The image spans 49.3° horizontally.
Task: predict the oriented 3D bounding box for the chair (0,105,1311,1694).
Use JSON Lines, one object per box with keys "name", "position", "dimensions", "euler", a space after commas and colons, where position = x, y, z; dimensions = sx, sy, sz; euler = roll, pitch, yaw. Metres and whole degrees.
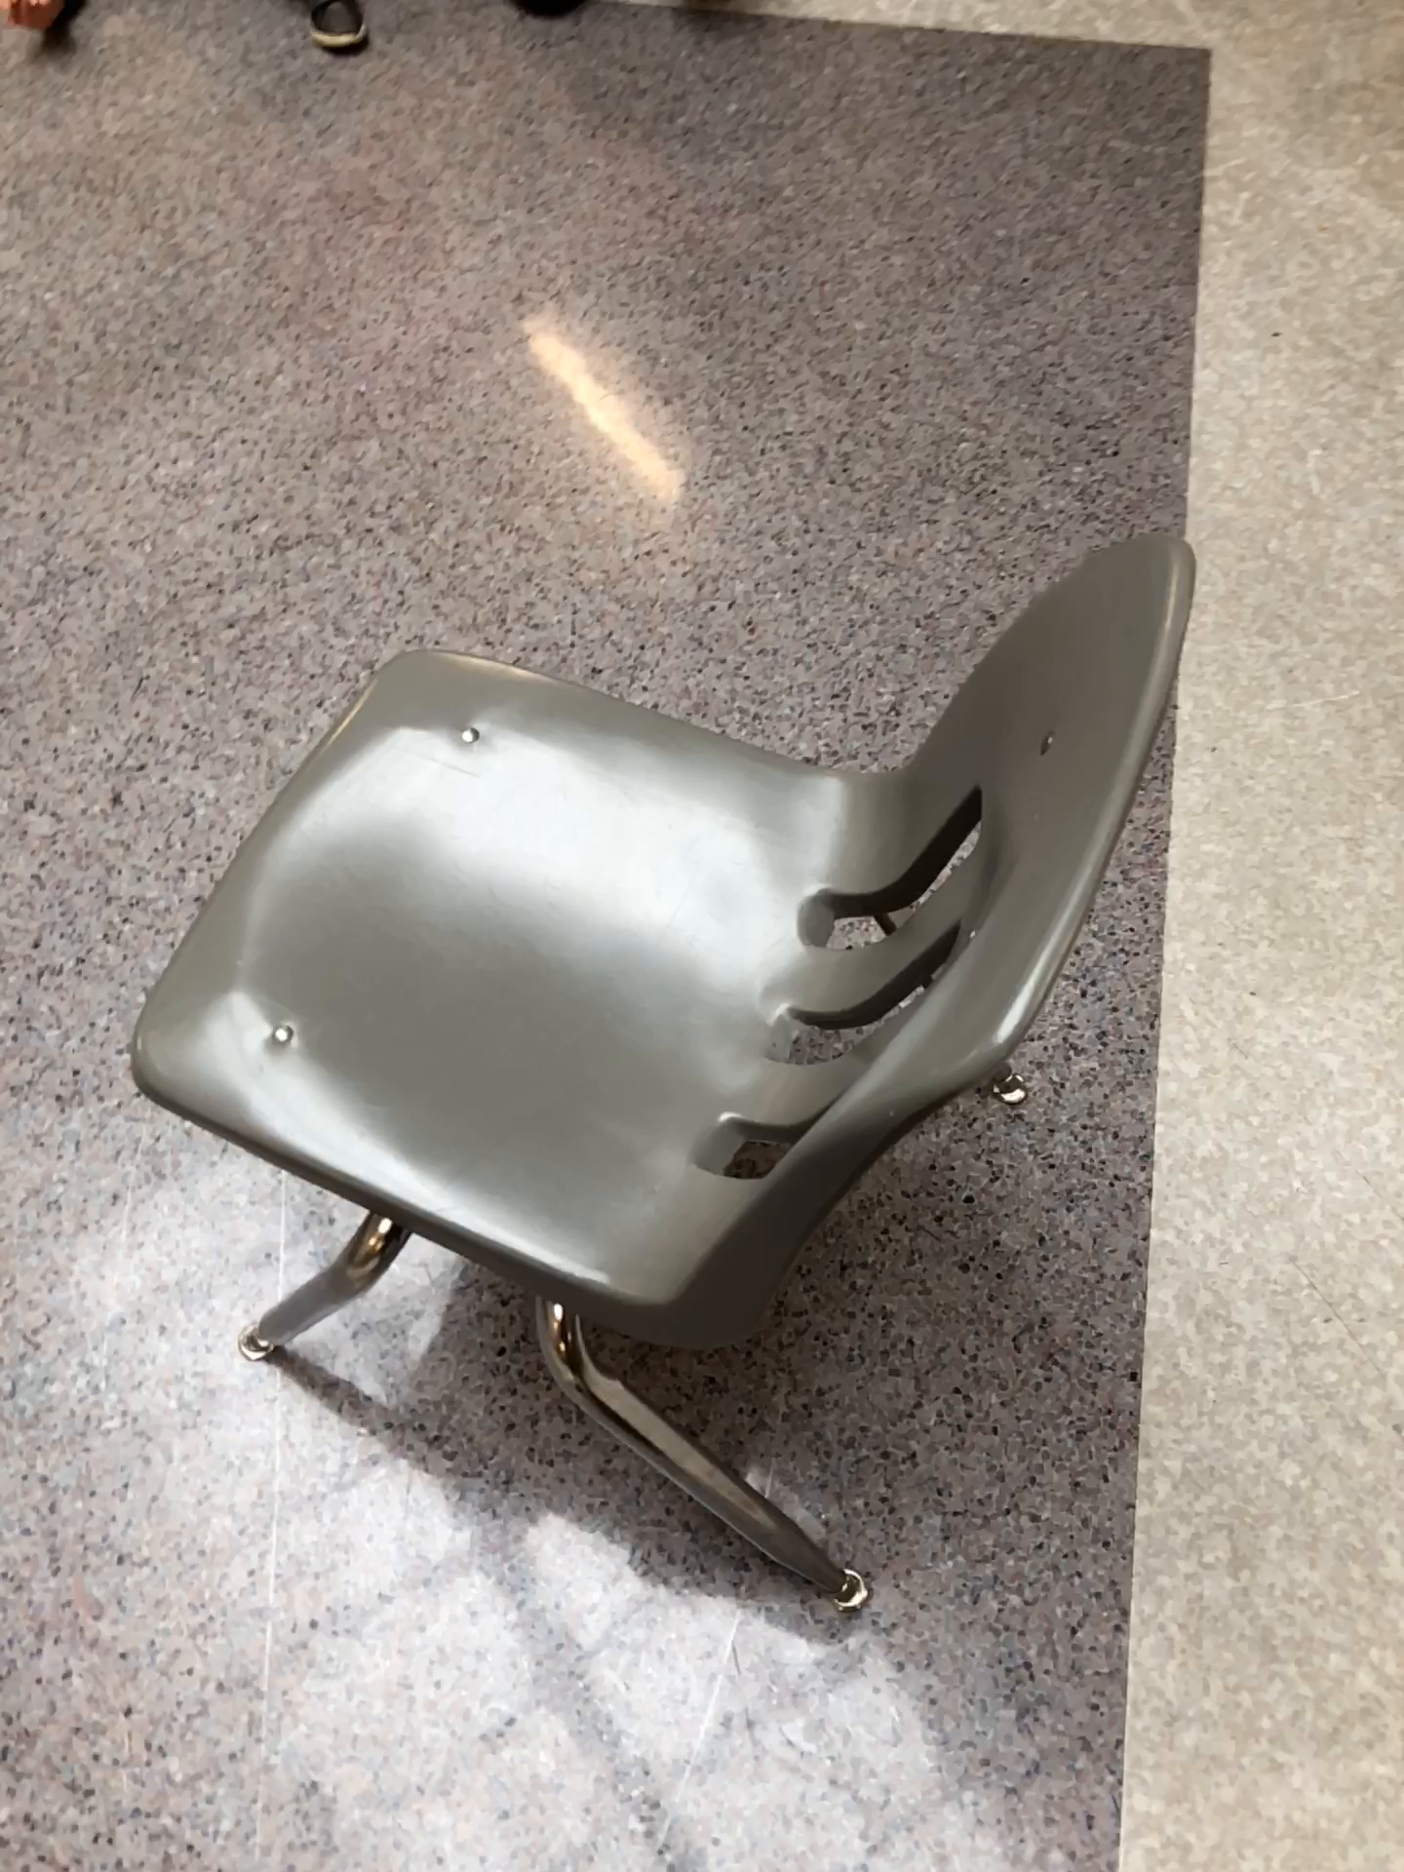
{"name": "chair", "position": [-0.075, 0.031, 0.895], "dimensions": [0.551, 0.667, 0.512], "euler": [19, 61, 13]}
